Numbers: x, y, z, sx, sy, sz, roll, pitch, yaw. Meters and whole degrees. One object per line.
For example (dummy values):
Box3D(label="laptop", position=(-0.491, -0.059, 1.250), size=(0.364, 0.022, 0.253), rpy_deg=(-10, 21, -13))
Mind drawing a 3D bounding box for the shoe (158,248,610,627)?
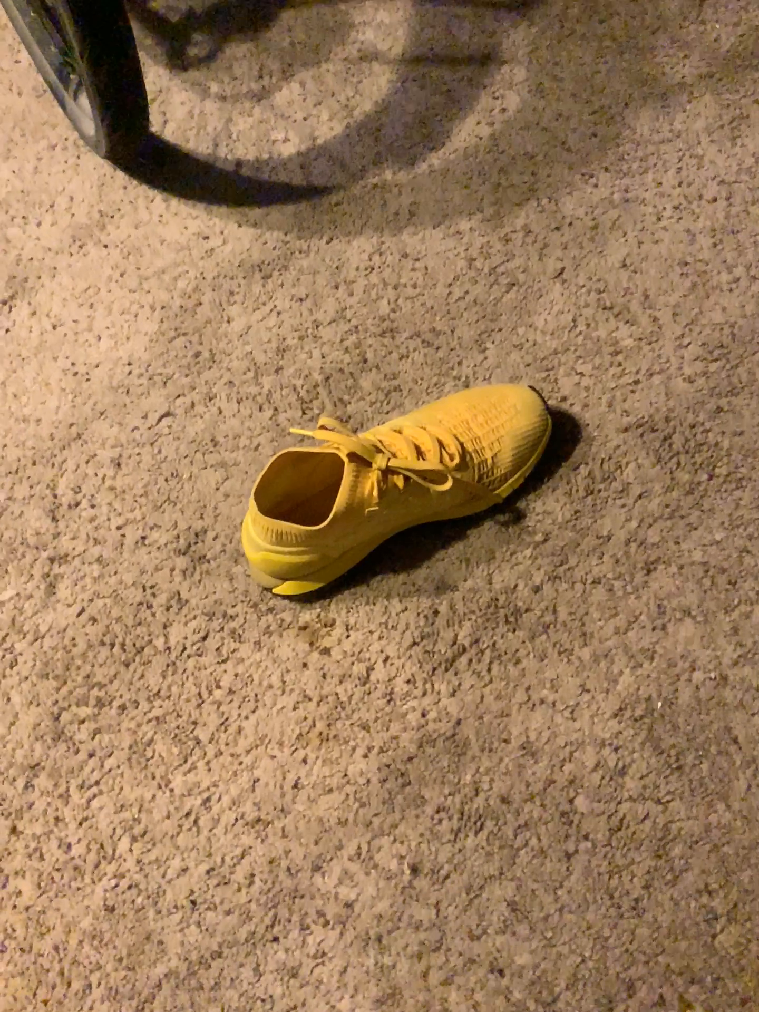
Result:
Box3D(label="shoe", position=(0.009, -0.050, 0.686), size=(0.320, 0.130, 0.130), rpy_deg=(-28, 62, -1))
